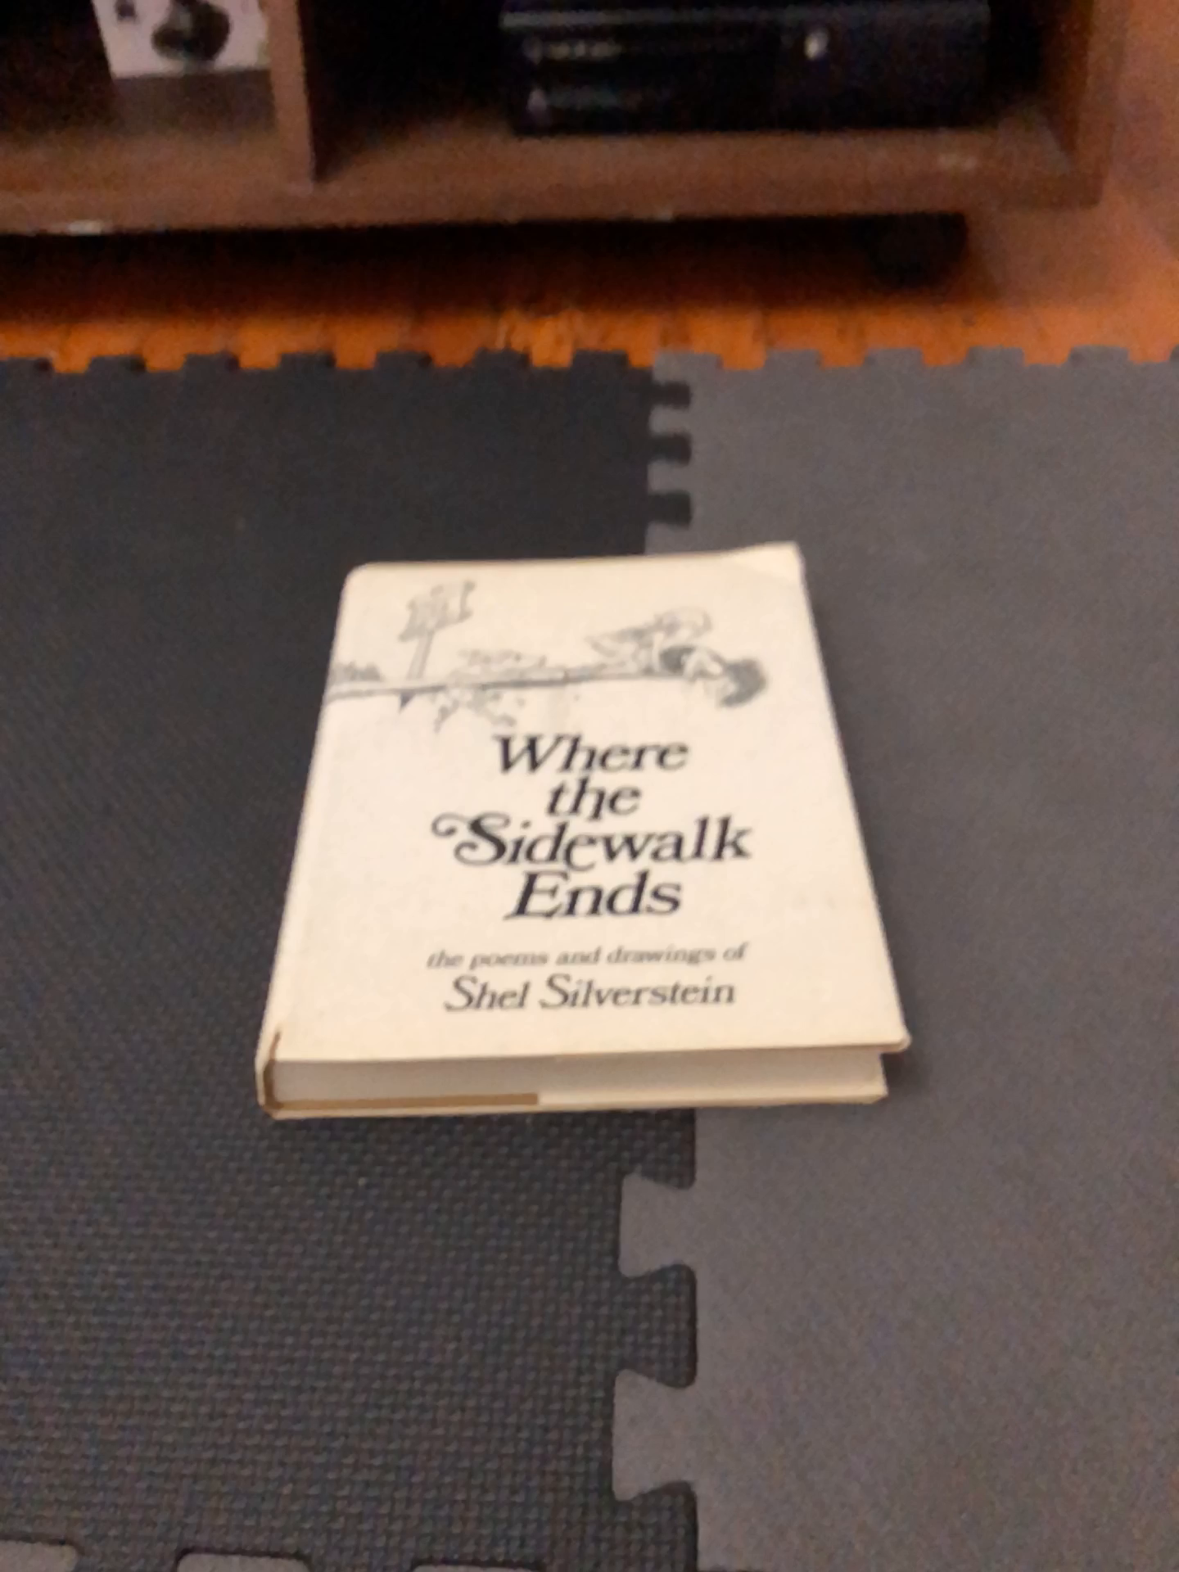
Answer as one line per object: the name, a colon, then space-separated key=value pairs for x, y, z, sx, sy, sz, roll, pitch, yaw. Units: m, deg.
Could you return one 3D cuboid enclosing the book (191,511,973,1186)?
book: x=-0.002 y=-0.001 z=0.449 sx=0.200 sy=0.030 sz=0.281 roll=-2 pitch=44 yaw=2
